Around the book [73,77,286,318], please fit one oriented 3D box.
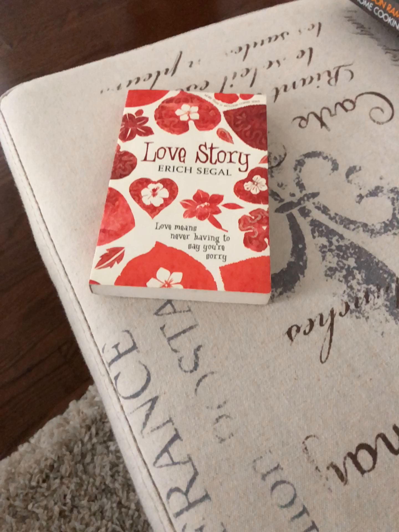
[{"bbox_3d":[-0.007,-0.058,0.307,0.120,0.020,0.188,3,59,0],"label":"book"}]
